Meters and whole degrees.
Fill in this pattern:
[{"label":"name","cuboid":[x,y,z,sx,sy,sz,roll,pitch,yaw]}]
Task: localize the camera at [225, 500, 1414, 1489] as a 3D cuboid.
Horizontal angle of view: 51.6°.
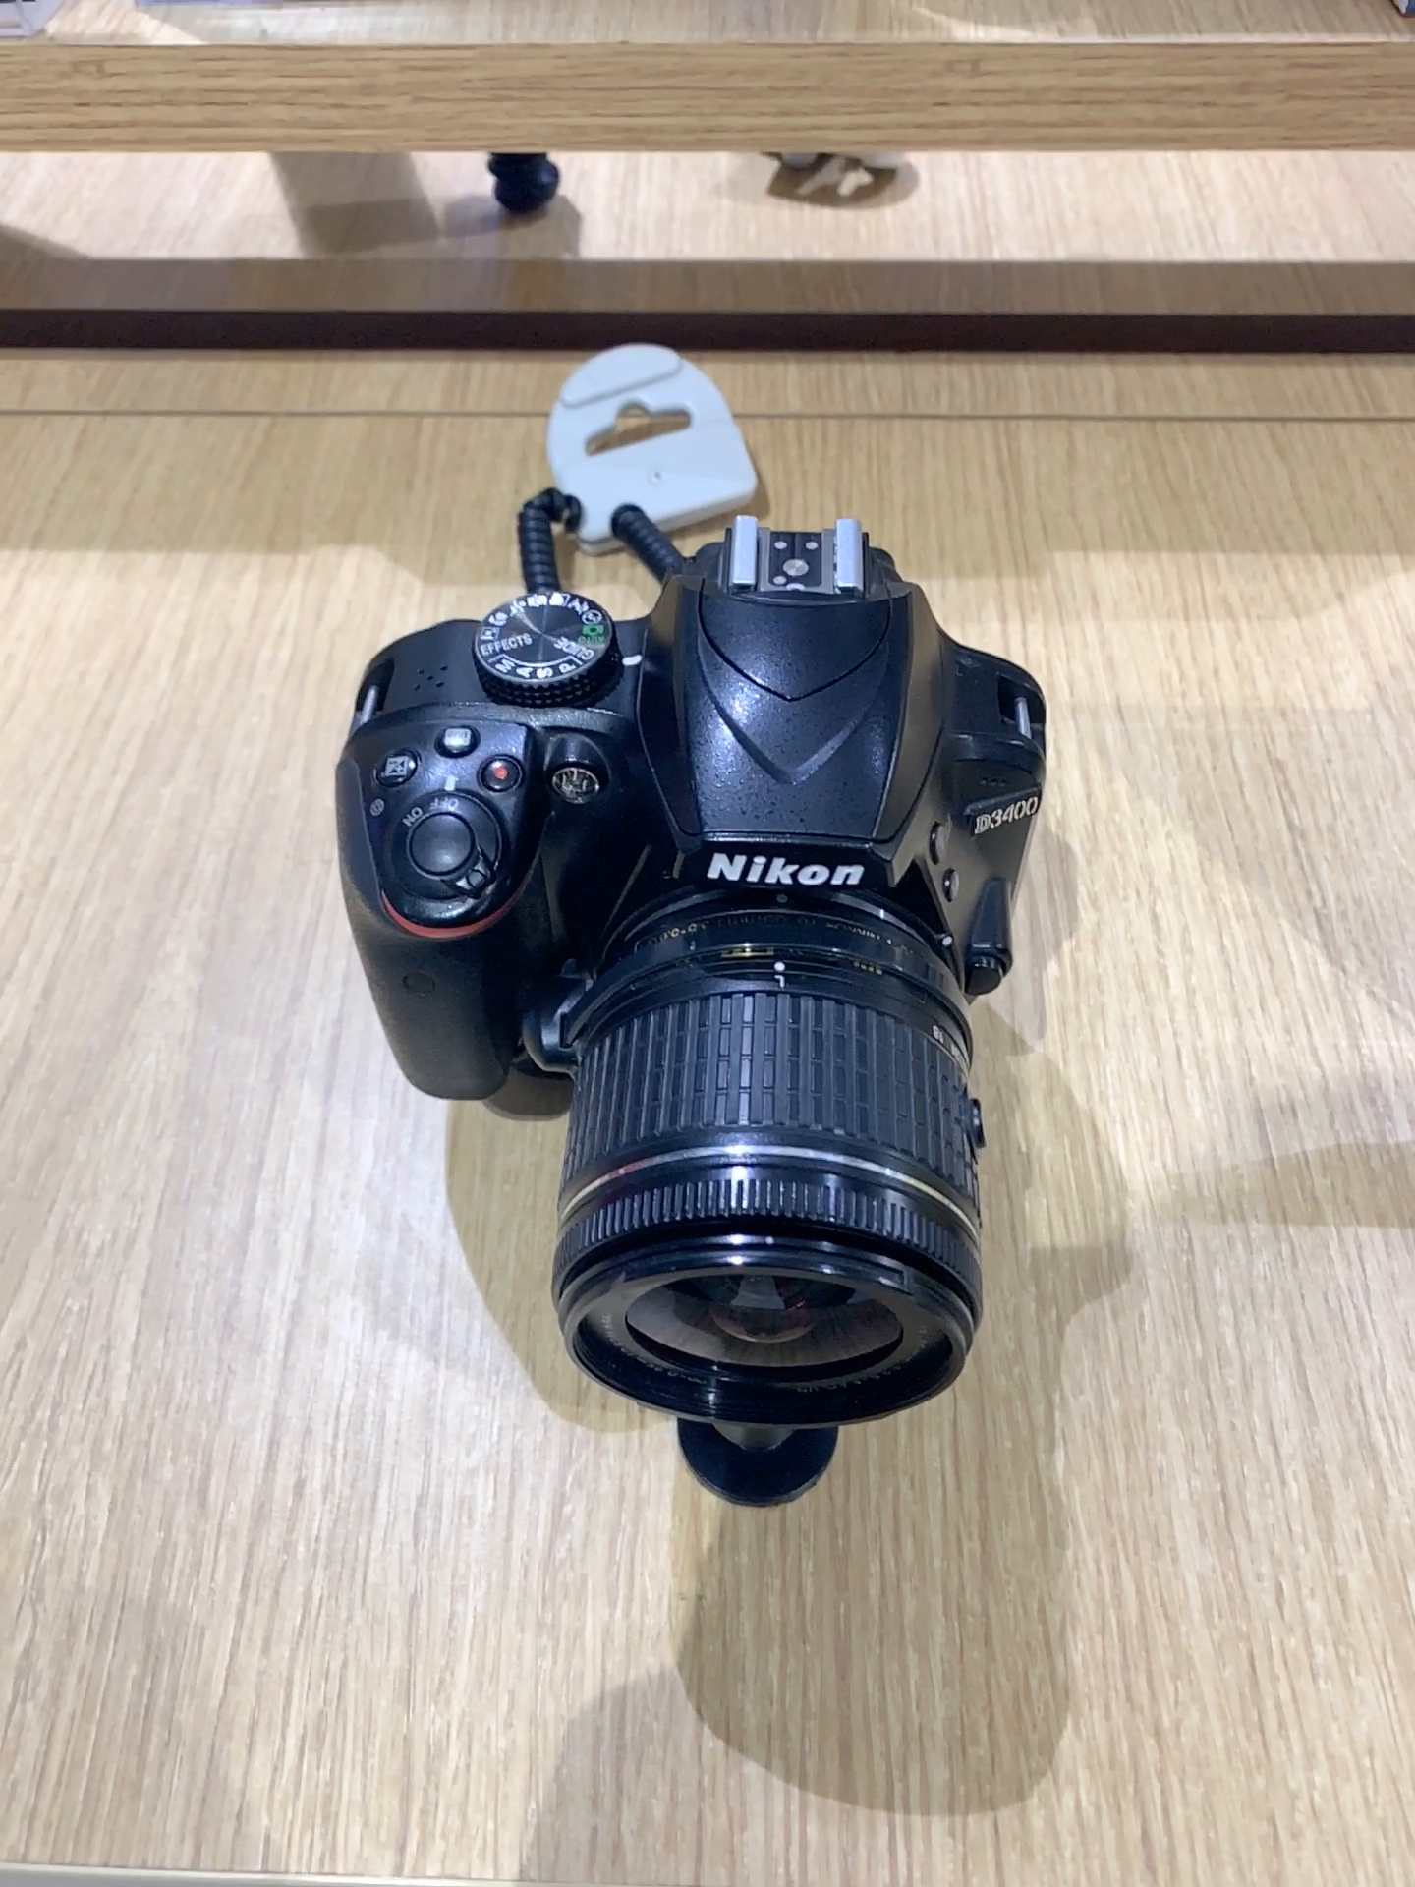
[{"label":"camera","cuboid":[0.012,0.006,0.191,0.110,0.073,0.100,2,53,0]}]
